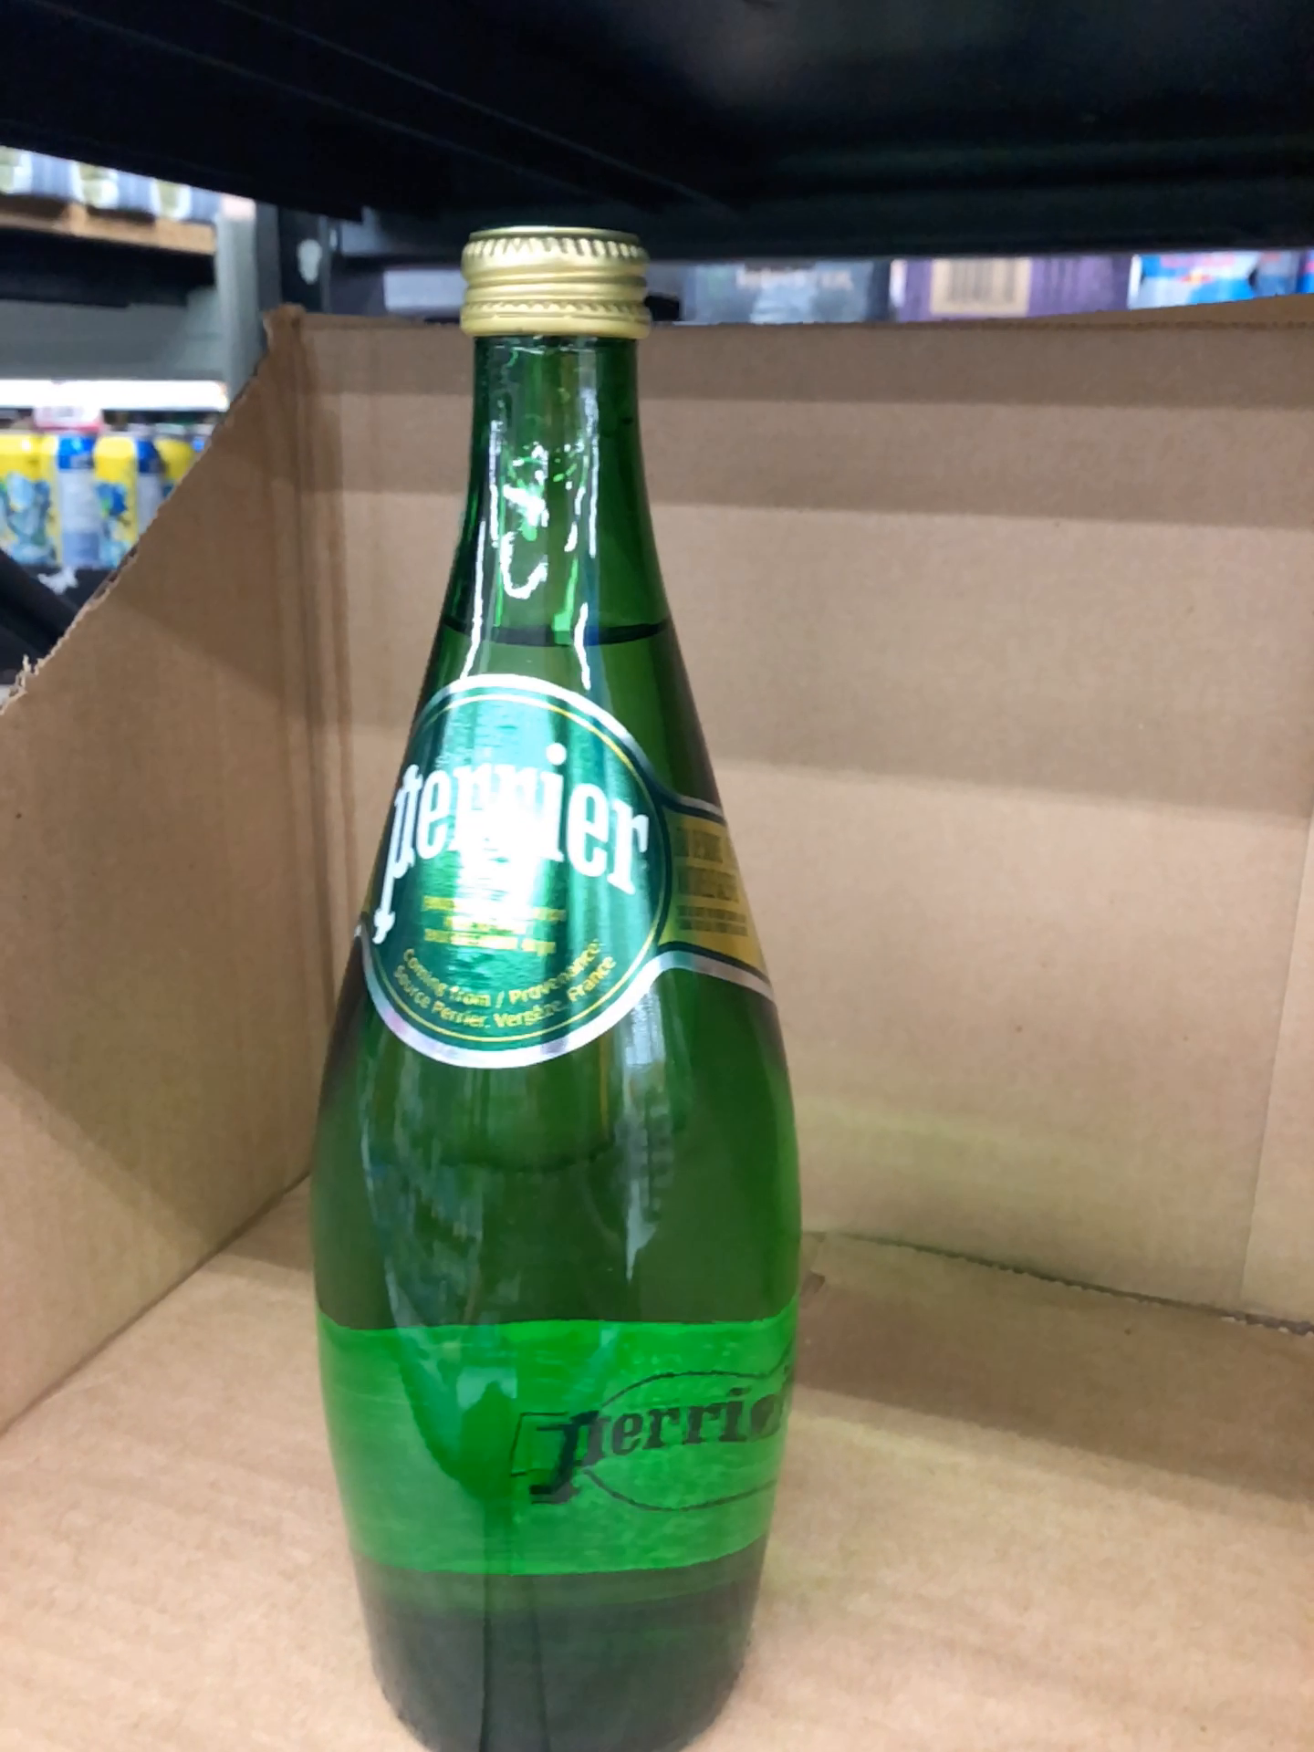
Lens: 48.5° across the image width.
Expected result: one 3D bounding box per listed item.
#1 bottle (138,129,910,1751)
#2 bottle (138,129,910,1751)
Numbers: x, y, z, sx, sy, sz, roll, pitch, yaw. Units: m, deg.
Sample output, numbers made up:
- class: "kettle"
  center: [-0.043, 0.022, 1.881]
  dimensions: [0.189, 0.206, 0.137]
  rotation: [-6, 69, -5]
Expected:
- class: "bottle"
  center: [-0.016, 0.026, 0.258]
  dimensions: [0.090, 0.269, 0.080]
  rotation: [7, 18, 19]
- class: "bottle"
  center: [-0.016, 0.026, 0.258]
  dimensions: [0.090, 0.269, 0.080]
  rotation: [7, 18, 19]
